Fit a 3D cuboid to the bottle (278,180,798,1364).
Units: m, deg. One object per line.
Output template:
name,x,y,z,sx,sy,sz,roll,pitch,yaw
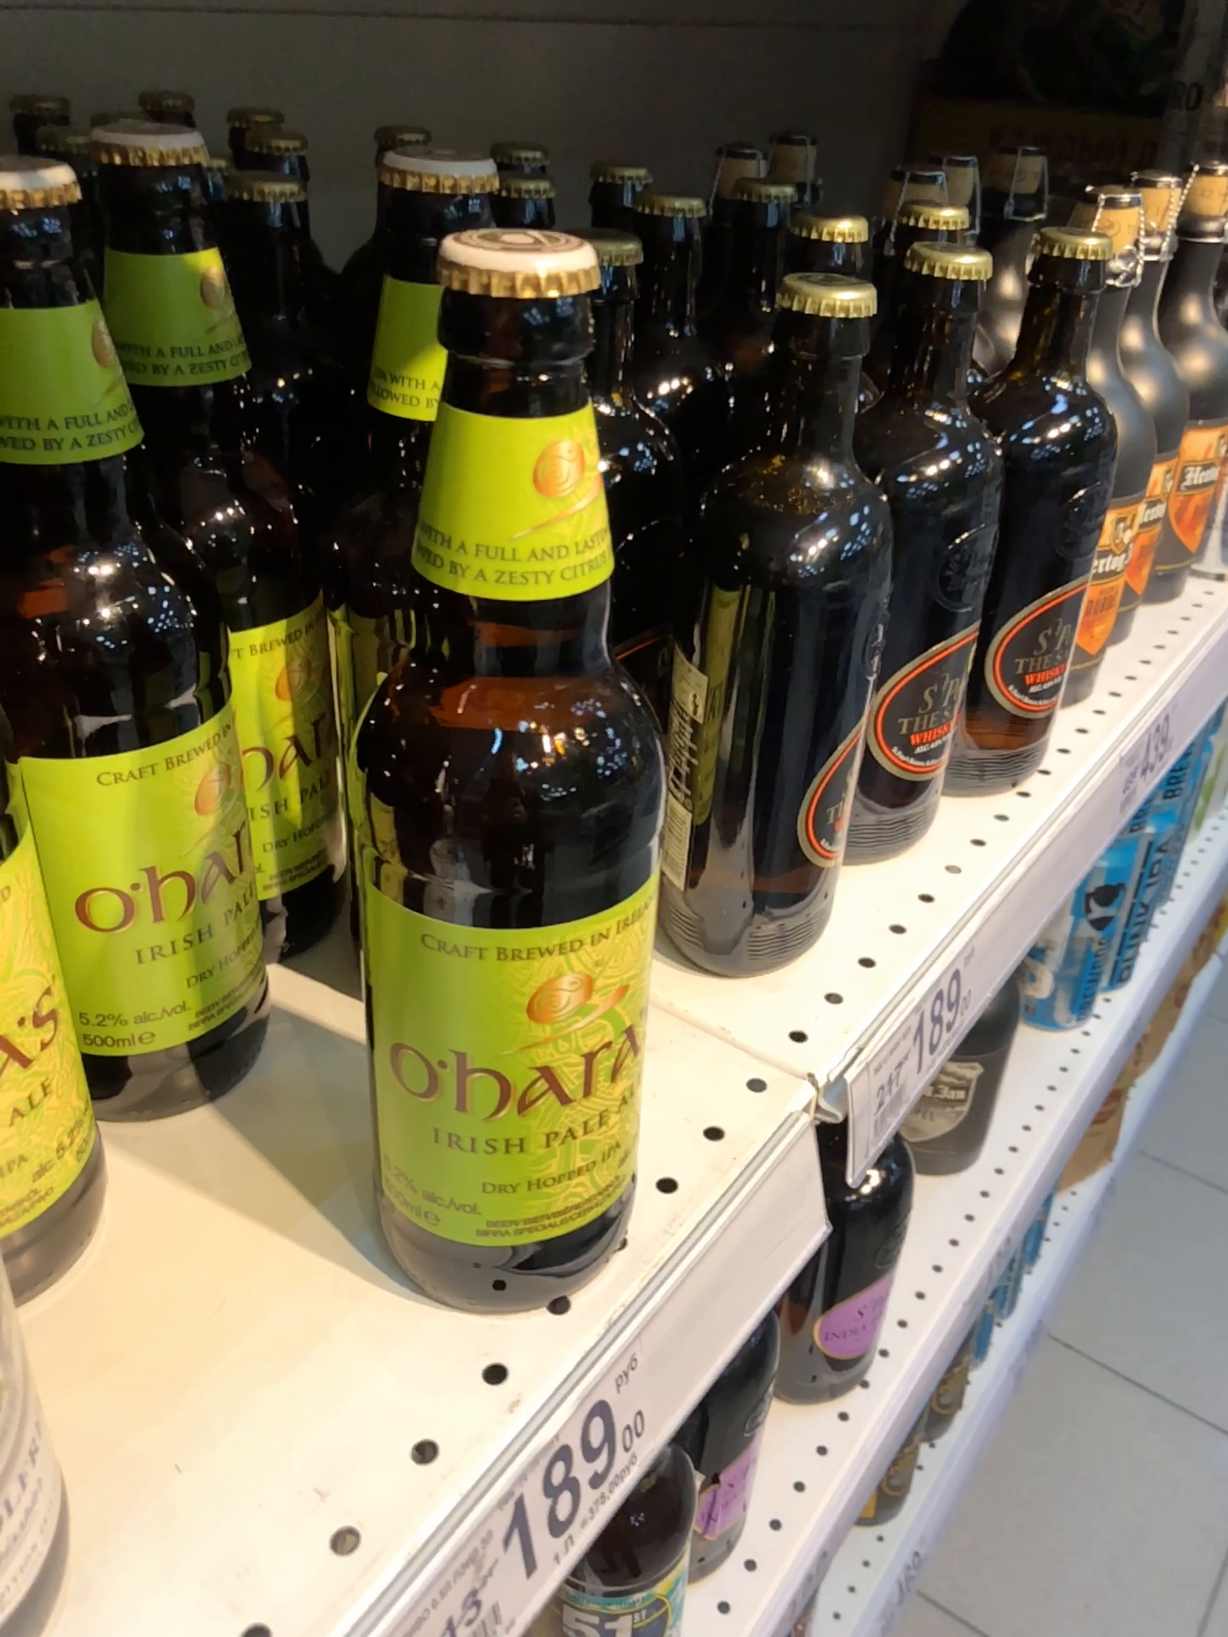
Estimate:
bottle,-0.023,0.001,0.301,0.070,0.250,0.070,3,31,-2
